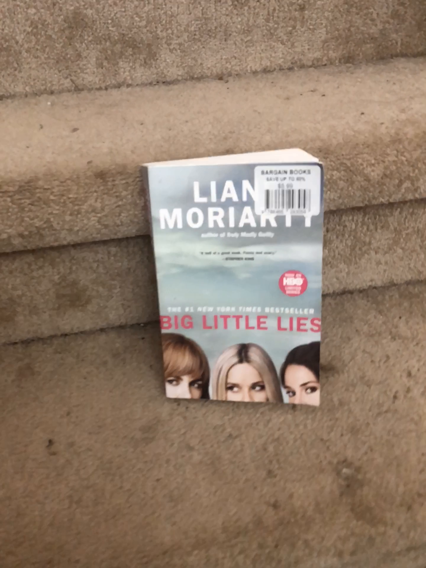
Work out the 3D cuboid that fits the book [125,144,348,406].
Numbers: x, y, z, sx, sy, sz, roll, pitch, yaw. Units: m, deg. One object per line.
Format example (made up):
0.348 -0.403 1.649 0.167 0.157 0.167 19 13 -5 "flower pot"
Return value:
0.020 -0.004 0.388 0.160 0.209 0.050 -1 18 2 "book"
